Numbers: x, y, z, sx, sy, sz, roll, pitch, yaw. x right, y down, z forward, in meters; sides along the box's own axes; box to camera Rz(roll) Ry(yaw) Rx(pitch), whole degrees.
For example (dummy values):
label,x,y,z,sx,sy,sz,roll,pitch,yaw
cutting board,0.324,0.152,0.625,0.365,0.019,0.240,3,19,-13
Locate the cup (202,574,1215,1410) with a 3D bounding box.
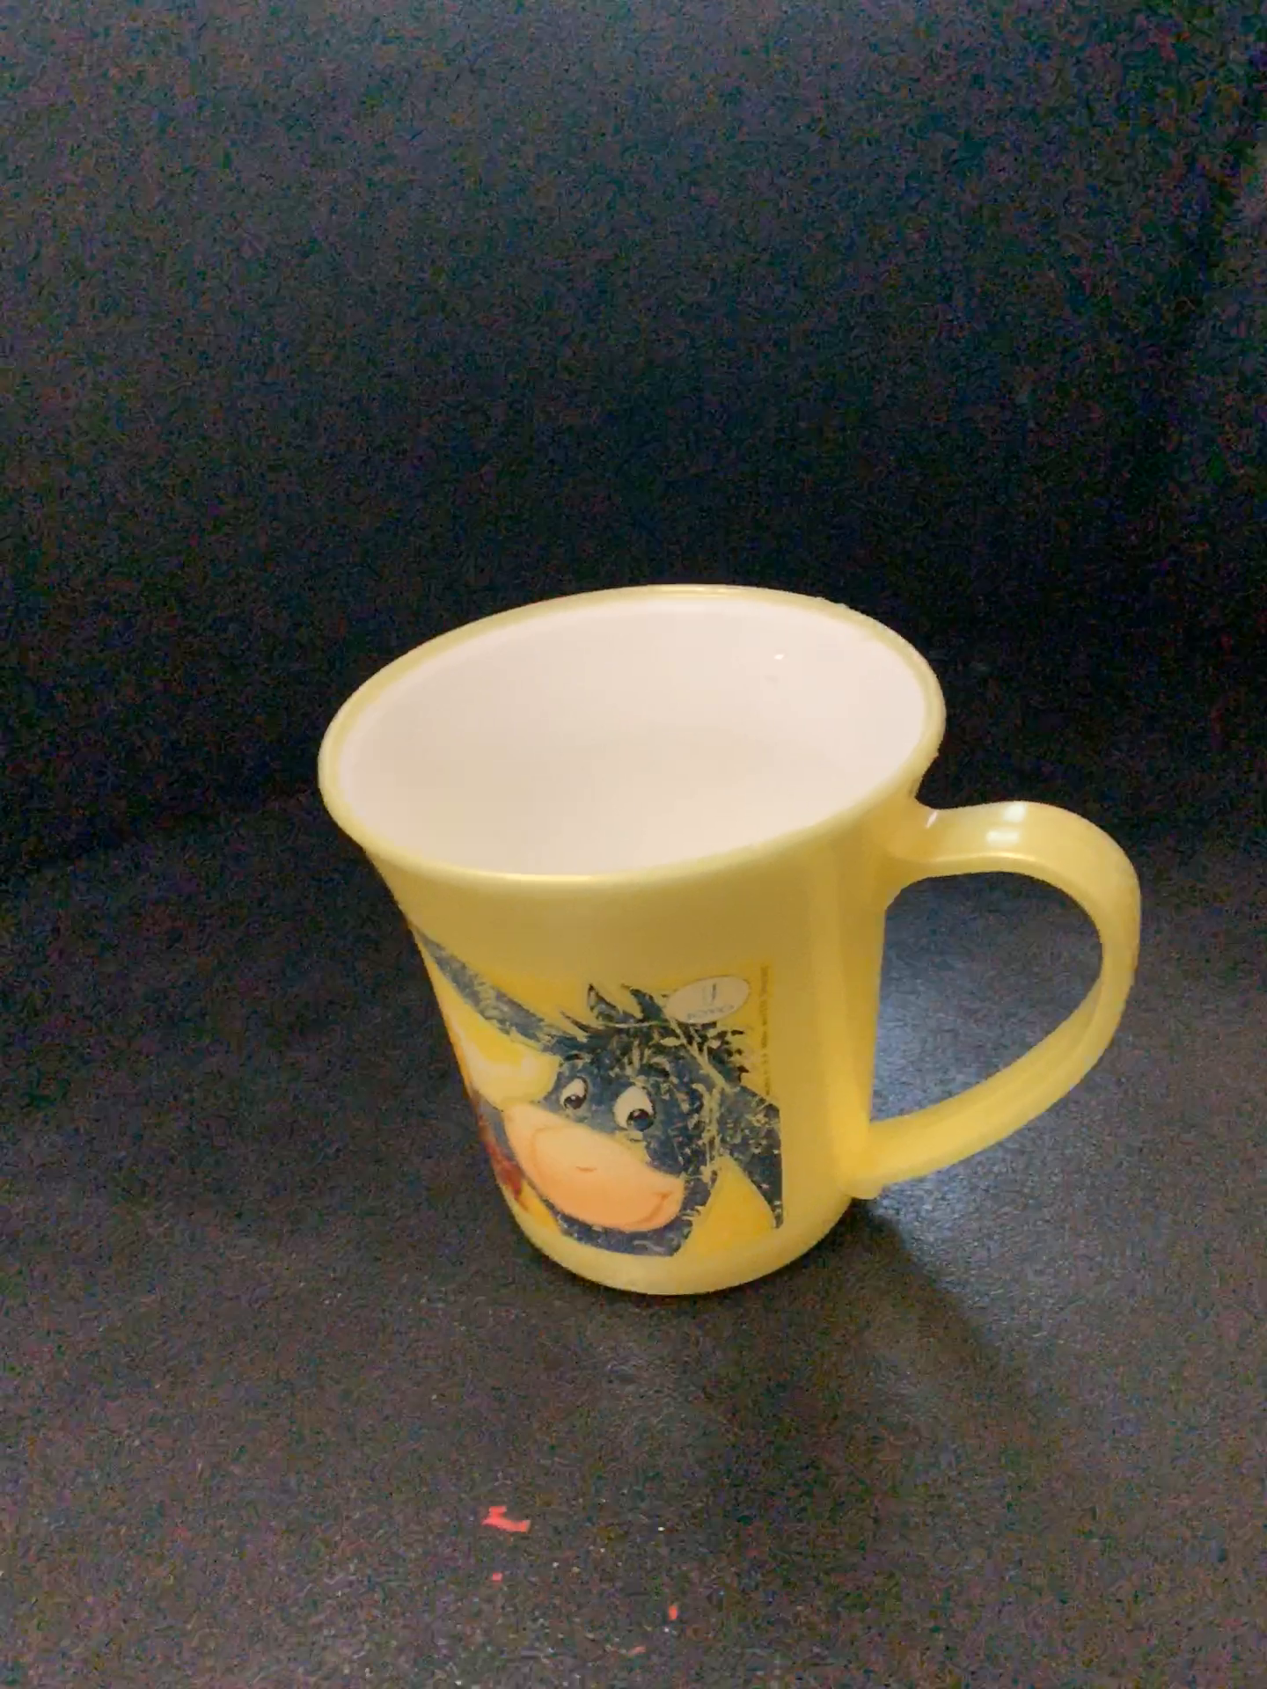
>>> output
label,x,y,z,sx,sy,sz,roll,pitch,yaw
cup,0.019,0.012,0.208,0.120,0.080,0.090,4,33,18
